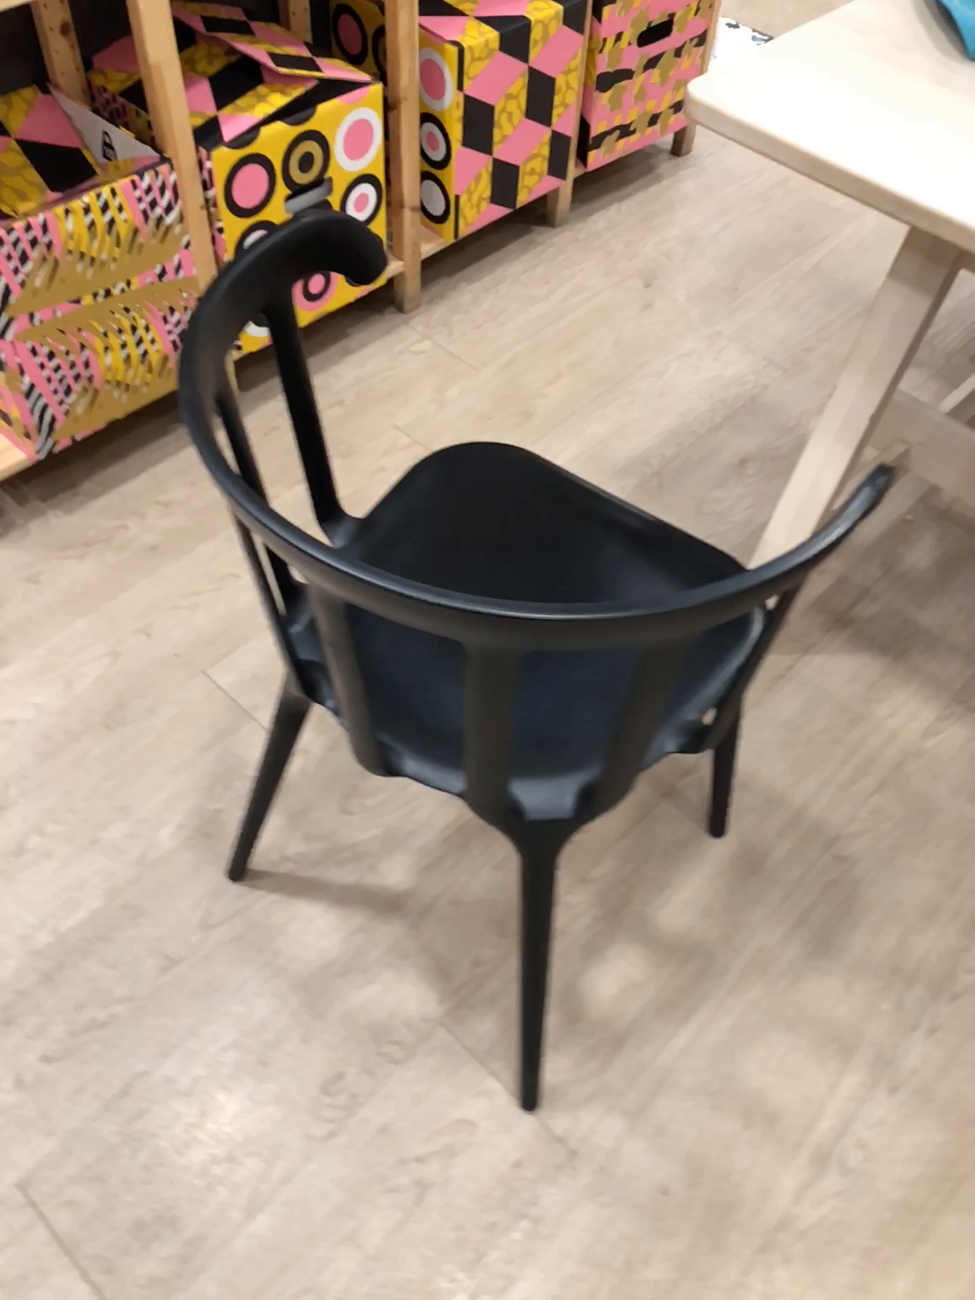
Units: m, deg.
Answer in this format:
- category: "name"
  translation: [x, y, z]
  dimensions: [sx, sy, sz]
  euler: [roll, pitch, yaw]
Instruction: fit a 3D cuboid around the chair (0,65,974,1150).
- category: "chair"
  translation: [0.007, -0.018, 0.995]
  dimensions: [0.531, 0.686, 0.532]
  euler: [32, 57, 20]
